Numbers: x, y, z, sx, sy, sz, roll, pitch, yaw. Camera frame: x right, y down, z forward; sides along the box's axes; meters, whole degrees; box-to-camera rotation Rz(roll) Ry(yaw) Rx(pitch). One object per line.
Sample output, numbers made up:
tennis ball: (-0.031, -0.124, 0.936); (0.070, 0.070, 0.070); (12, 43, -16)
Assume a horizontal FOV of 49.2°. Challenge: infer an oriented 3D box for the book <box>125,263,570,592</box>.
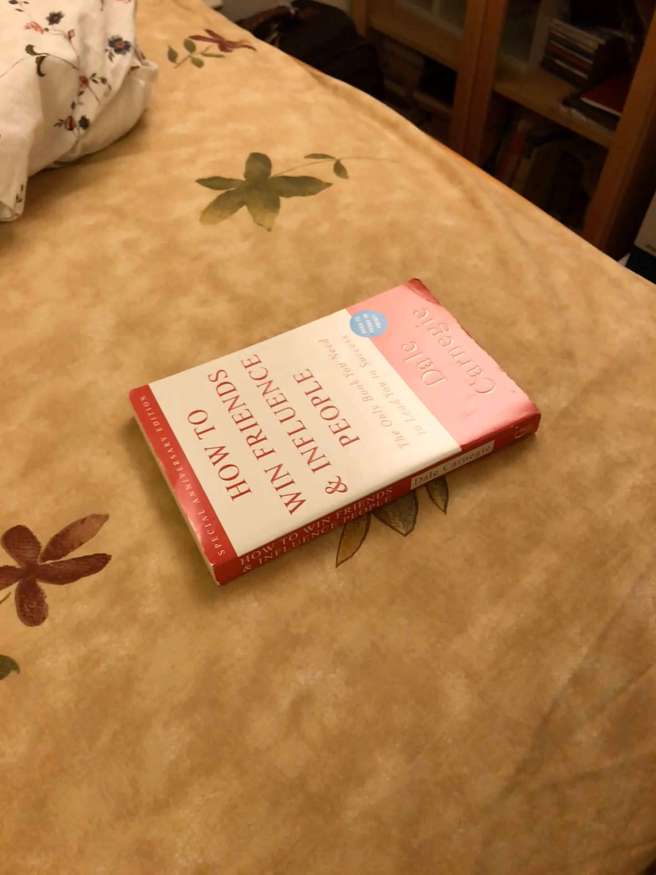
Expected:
book: (0.009, -0.021, 0.435); (0.220, 0.020, 0.151); (-23, 56, -17)
